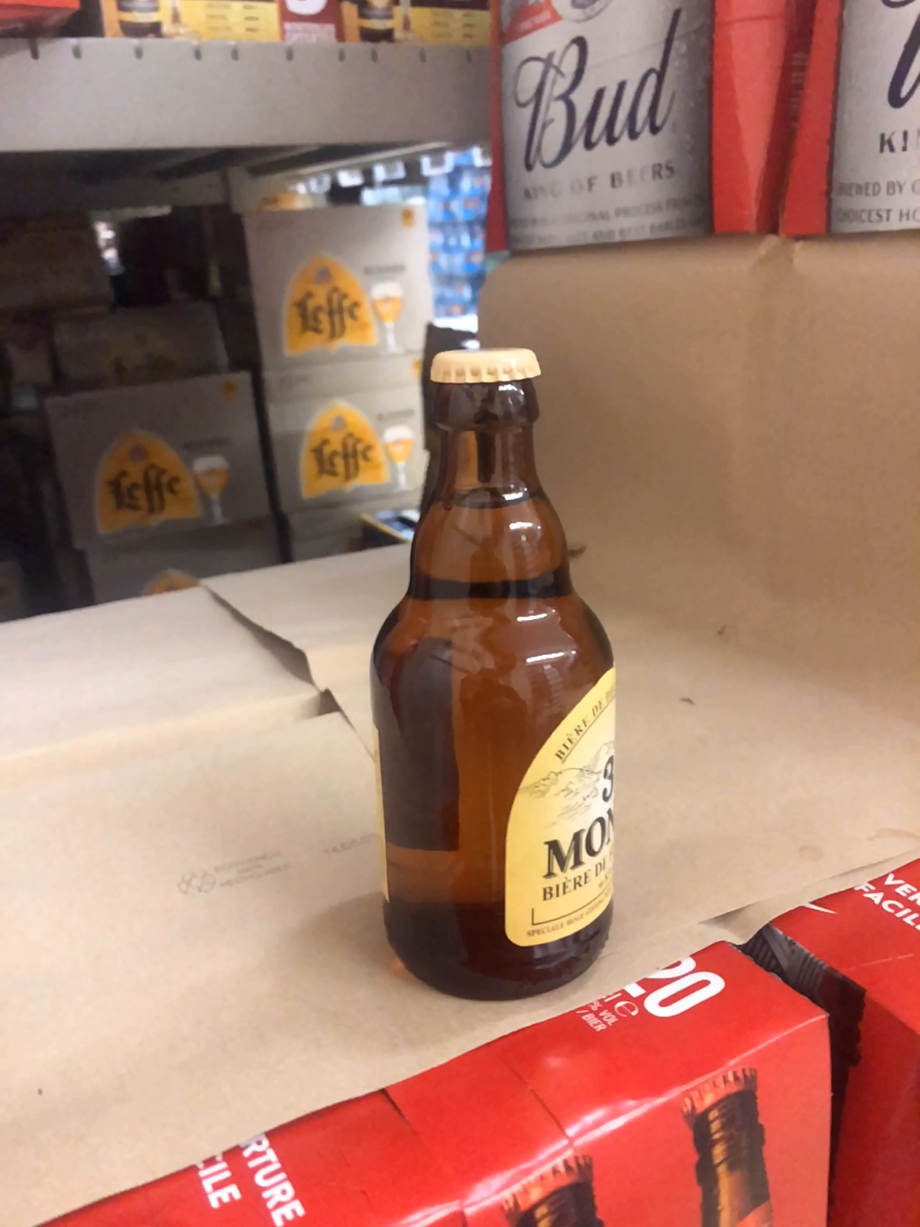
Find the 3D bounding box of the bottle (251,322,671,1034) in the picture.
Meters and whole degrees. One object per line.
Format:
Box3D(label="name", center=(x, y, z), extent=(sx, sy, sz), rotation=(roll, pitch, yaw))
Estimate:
Box3D(label="bottle", center=(0.009, 0.010, 0.279), extent=(0.080, 0.166, 0.080), rotation=(-3, 18, 1))
